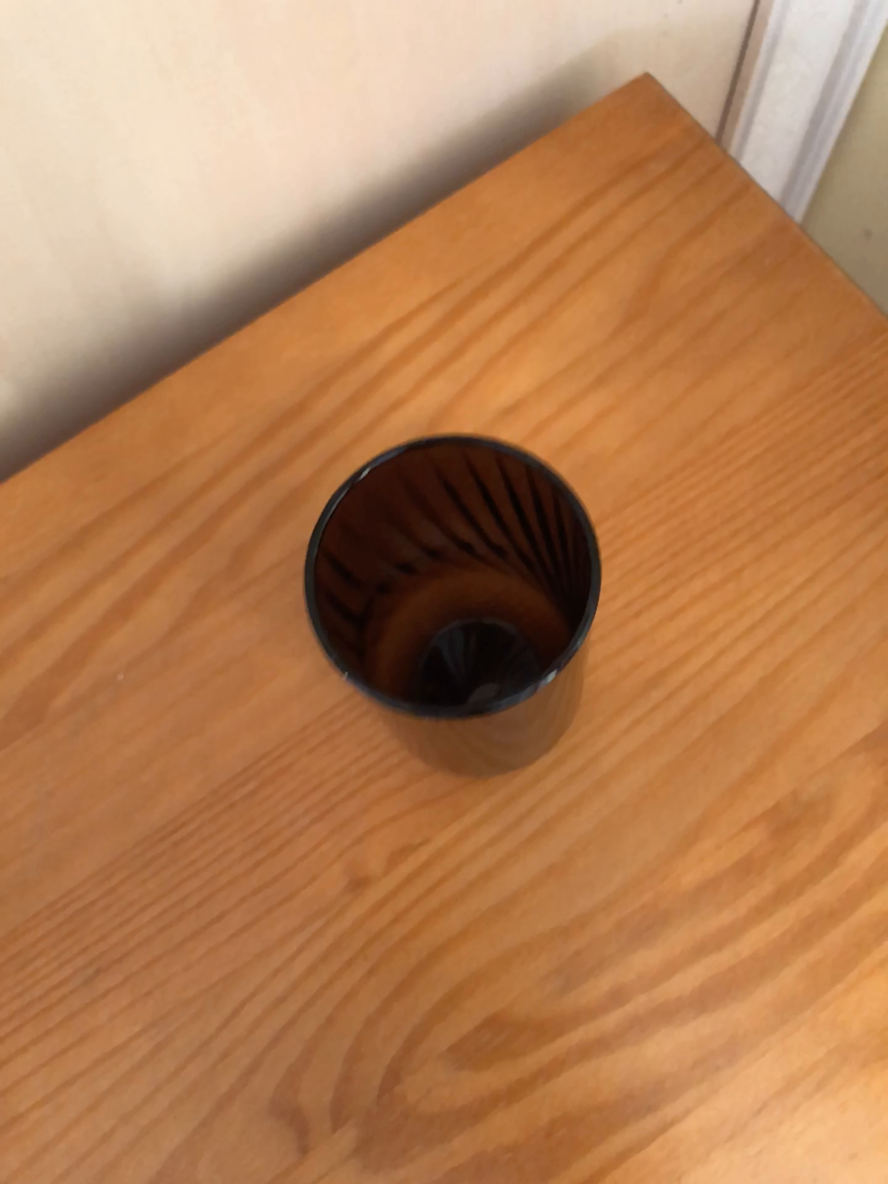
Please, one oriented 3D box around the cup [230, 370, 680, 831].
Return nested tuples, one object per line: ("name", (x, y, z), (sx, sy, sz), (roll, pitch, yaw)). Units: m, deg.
("cup", (0.006, 0.012, 0.241), (0.061, 0.113, 0.060), (-1, 74, 4))
